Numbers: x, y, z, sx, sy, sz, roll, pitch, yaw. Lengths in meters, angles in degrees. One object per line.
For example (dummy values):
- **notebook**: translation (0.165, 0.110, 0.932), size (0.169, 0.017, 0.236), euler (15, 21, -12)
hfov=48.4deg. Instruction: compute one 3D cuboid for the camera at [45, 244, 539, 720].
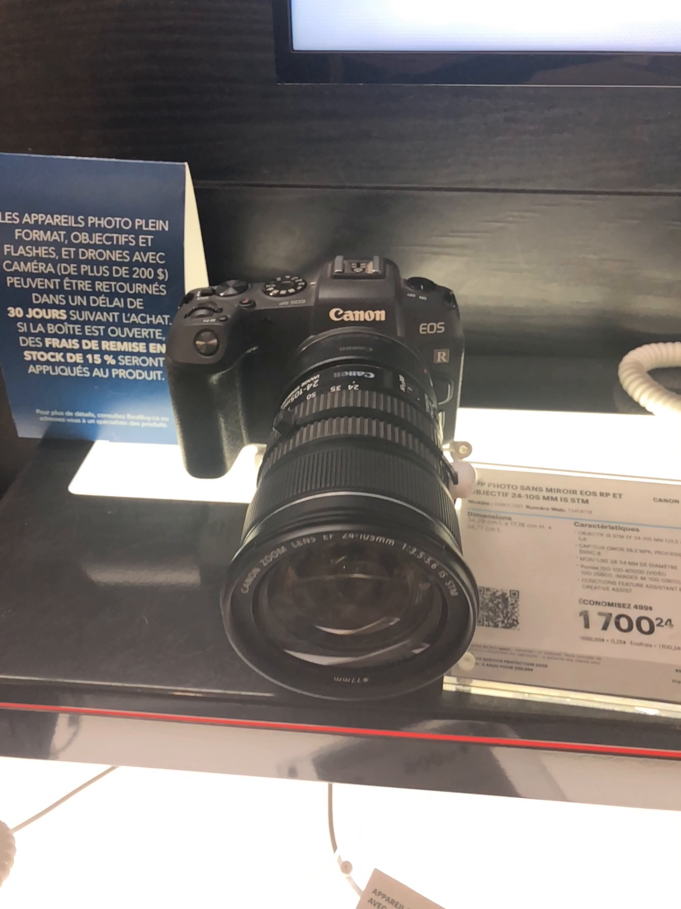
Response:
- **camera**: translation (-0.009, -0.005, 0.298), size (0.128, 0.099, 0.178), euler (1, 34, 2)
